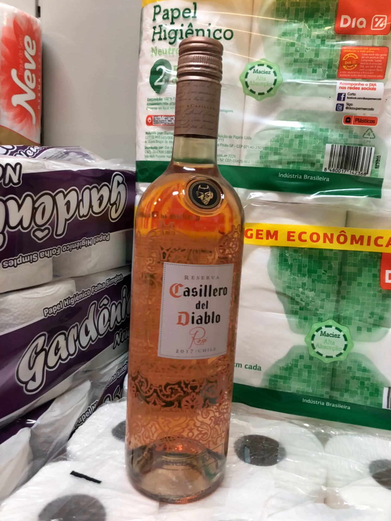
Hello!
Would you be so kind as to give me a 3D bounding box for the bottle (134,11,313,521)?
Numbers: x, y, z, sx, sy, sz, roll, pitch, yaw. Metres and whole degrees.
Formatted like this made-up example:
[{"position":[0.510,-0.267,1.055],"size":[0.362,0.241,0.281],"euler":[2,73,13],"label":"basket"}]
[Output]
[{"position":[0.007,0.019,0.291],"size":[0.090,0.309,0.080],"euler":[1,10,-8],"label":"bottle"}]
